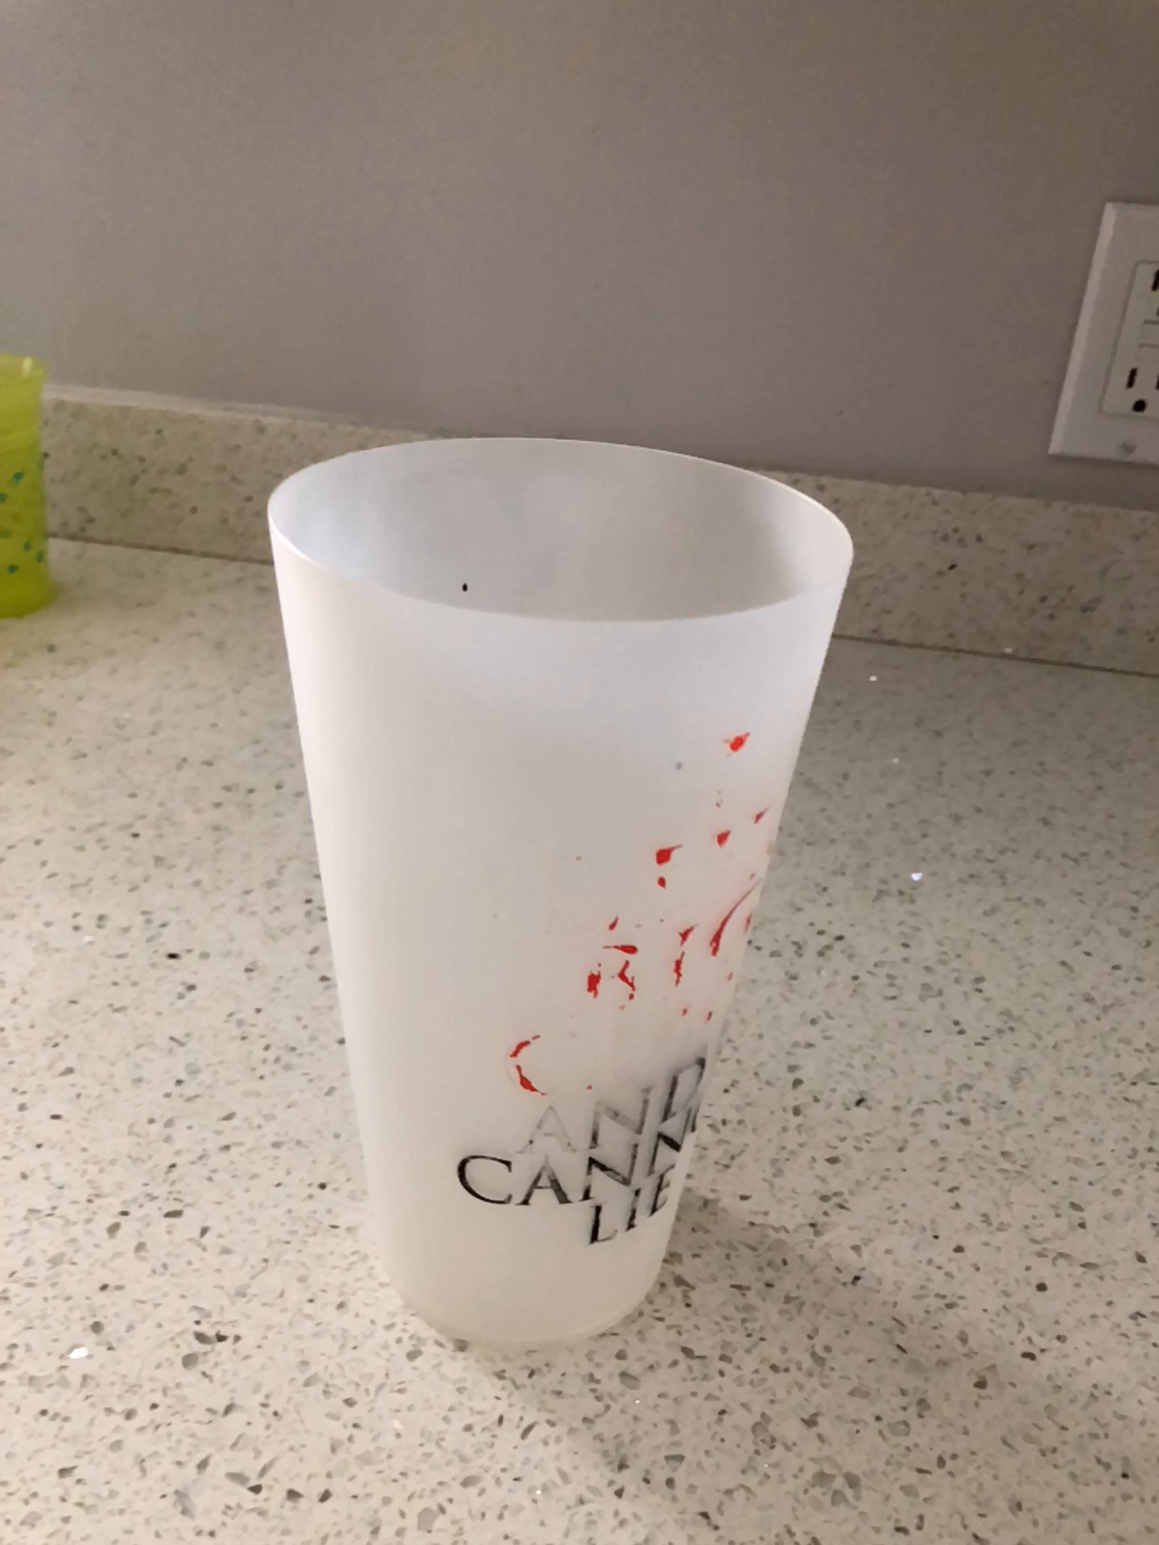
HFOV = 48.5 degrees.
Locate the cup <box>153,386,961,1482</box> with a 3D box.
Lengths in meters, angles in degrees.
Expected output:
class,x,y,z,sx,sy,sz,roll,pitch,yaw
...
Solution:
class,x,y,z,sx,sy,sz,roll,pitch,yaw
cup,-0.009,0.023,0.251,0.096,0.166,0.094,2,28,-1
